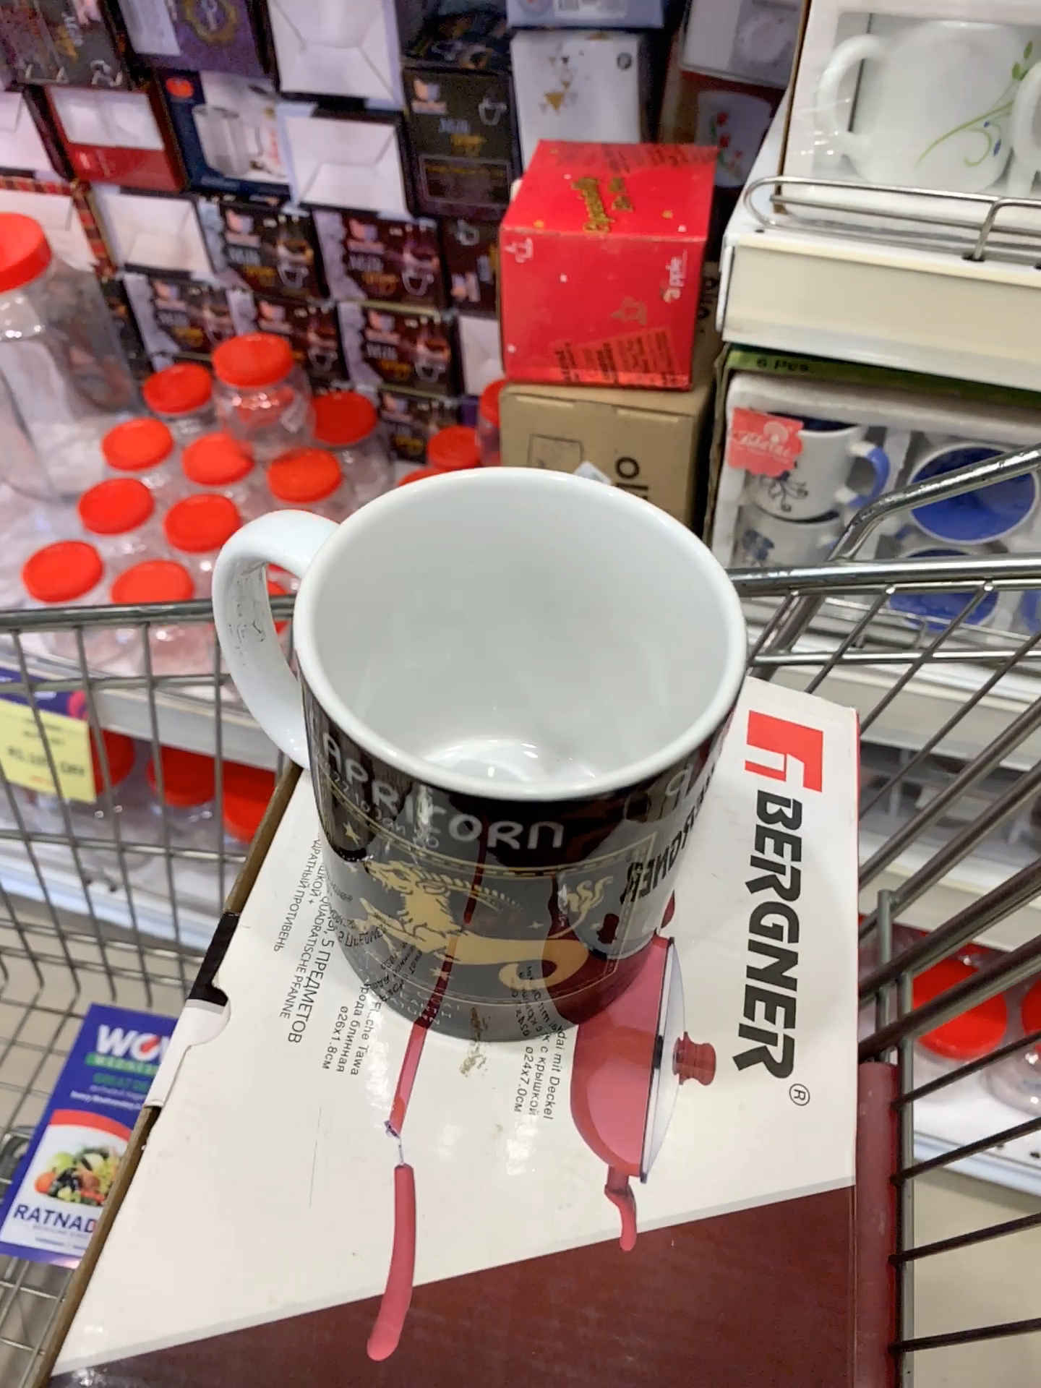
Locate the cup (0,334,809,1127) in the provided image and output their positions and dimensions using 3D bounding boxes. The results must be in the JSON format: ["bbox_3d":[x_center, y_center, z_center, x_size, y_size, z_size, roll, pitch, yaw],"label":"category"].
[{"bbox_3d":[-0.024,0.006,0.210,0.120,0.090,0.080,22,54,14],"label":"cup"}]
